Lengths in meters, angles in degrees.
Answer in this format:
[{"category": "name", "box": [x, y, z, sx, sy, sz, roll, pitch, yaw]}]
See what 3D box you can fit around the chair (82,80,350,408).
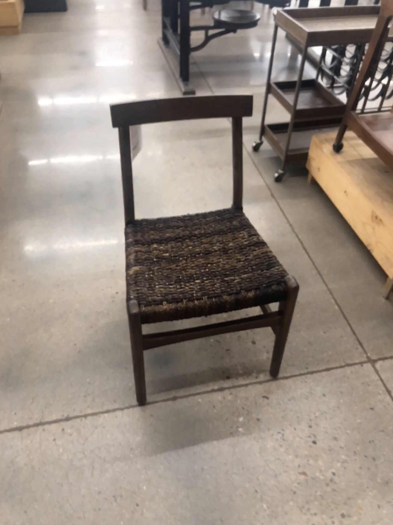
[{"category": "chair", "box": [-0.007, -0.039, 1.363, 0.548, 0.816, 0.535, -8, 45, -11]}]
